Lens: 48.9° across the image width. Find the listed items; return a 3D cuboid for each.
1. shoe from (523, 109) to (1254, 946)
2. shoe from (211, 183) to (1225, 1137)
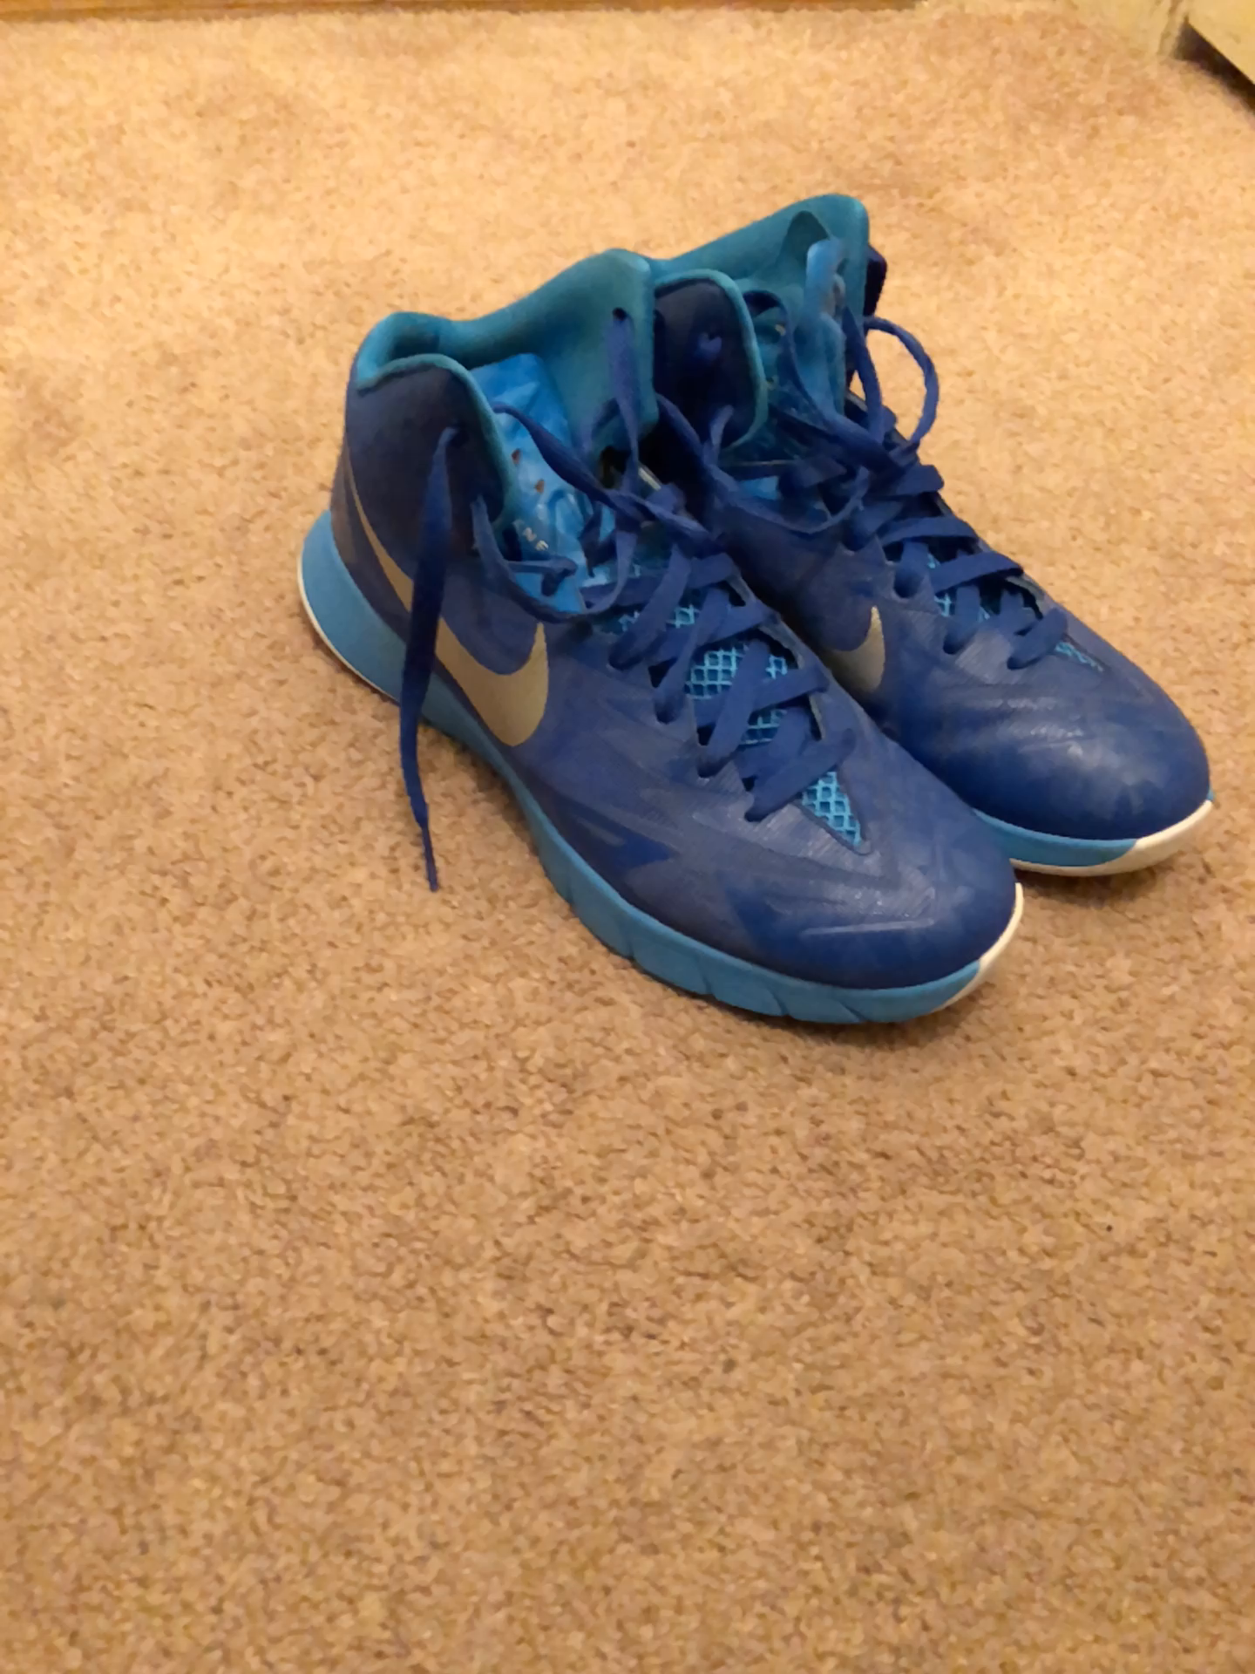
[{"bbox_3d":[0.108,-0.119,0.491,0.280,0.134,0.122,38,57,21],"label":"shoe"},{"bbox_3d":[0.011,-0.066,0.440,0.279,0.134,0.121,40,58,22],"label":"shoe"}]
